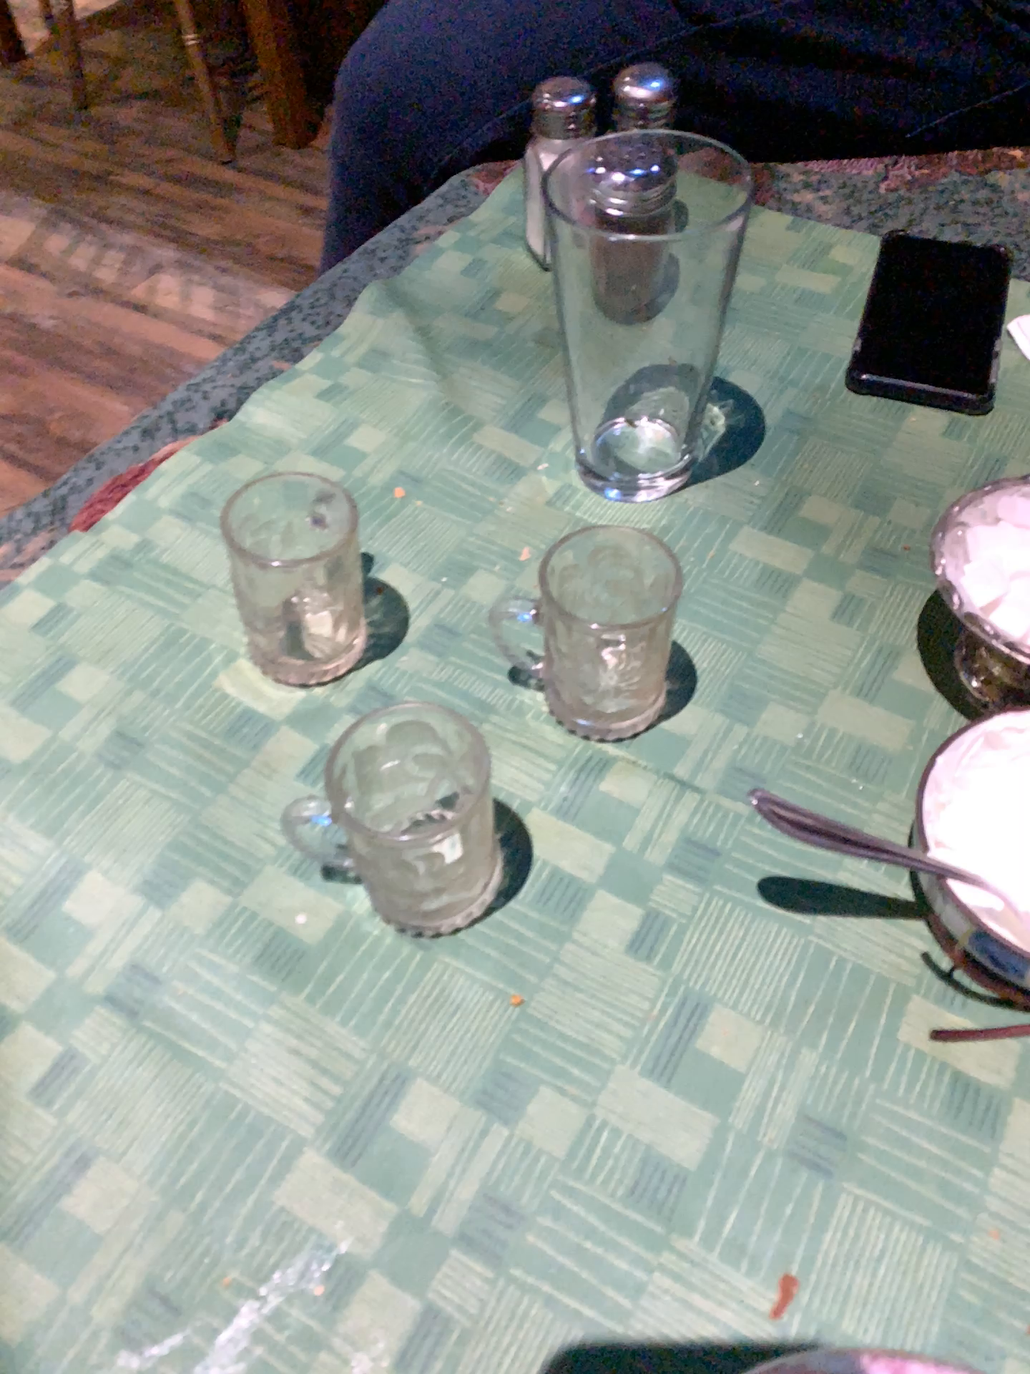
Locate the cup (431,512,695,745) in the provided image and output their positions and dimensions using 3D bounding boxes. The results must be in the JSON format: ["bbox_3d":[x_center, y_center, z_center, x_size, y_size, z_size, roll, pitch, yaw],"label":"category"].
[{"bbox_3d":[0.017,-0.022,0.400,0.090,0.060,0.060,-2,52,2],"label":"cup"}]

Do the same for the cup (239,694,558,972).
[{"bbox_3d":[-0.034,0.051,0.360,0.090,0.070,0.060,4,52,7],"label":"cup"}]

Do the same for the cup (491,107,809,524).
[{"bbox_3d":[0.062,-0.172,0.491,0.100,0.129,0.110,19,56,17],"label":"cup"}]

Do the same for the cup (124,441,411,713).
[{"bbox_3d":[-0.095,-0.046,0.421,0.070,0.050,0.080,20,56,19],"label":"cup"}]
